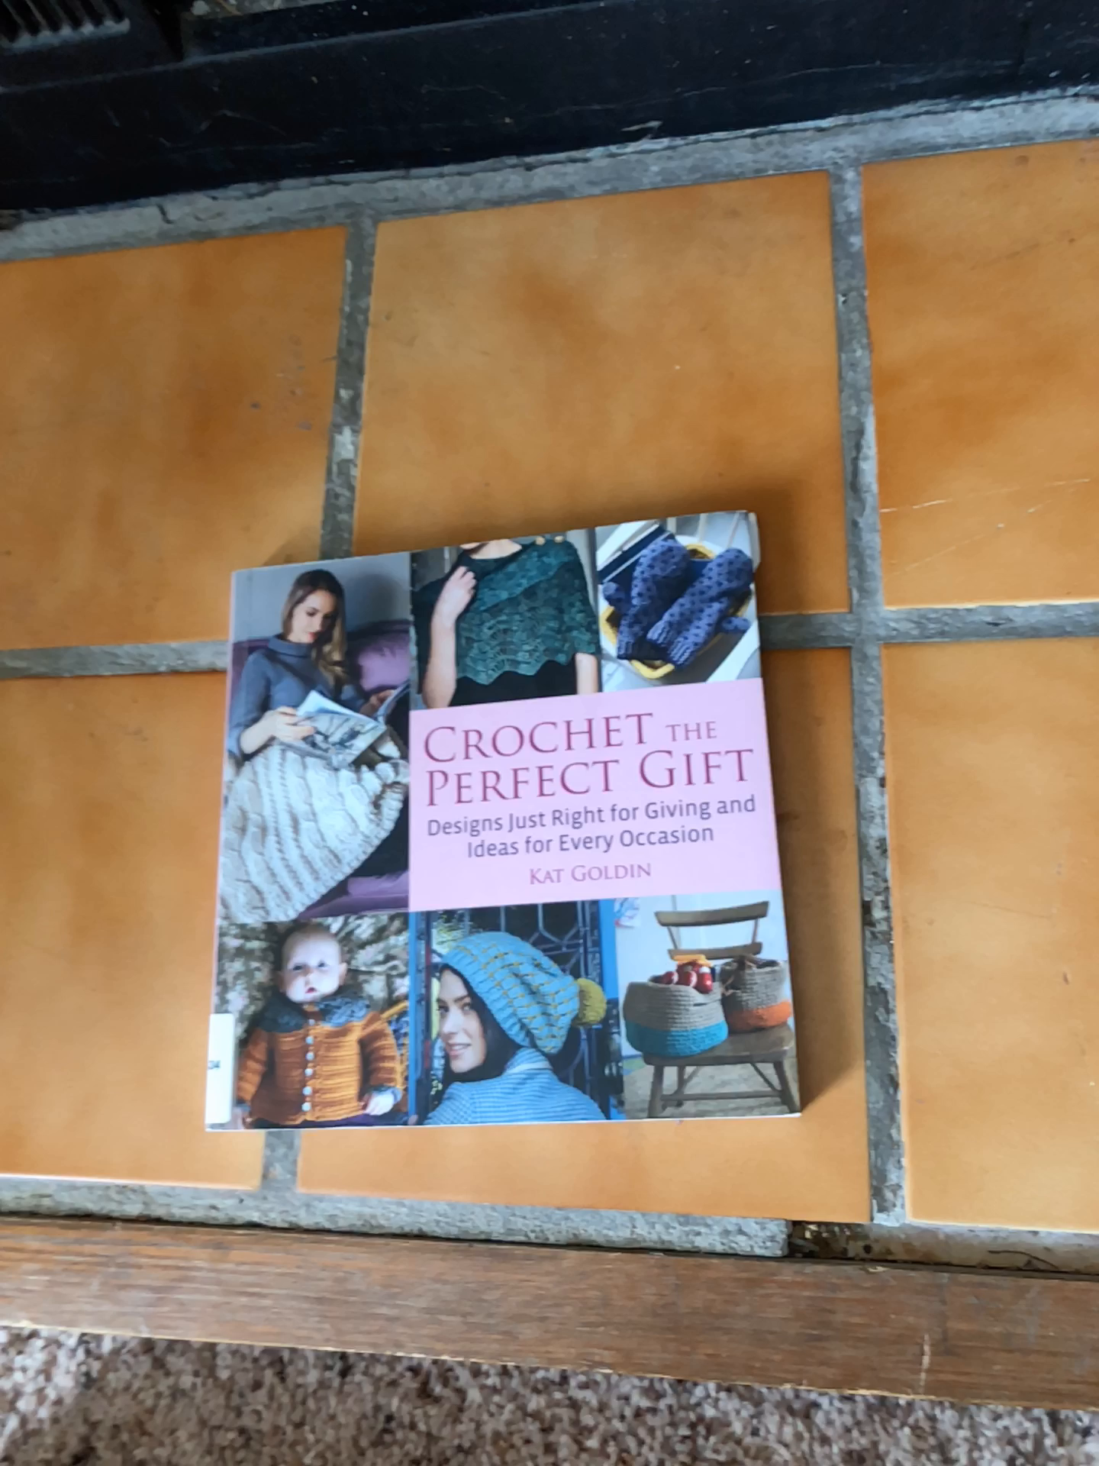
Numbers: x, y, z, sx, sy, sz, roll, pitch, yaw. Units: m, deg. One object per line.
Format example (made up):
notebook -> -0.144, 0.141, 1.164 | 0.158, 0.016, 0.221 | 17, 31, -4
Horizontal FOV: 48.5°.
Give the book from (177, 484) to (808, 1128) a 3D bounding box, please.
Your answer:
book -> -0.026, 0.026, 0.449 | 0.217, 0.020, 0.221 | -5, 73, 10
